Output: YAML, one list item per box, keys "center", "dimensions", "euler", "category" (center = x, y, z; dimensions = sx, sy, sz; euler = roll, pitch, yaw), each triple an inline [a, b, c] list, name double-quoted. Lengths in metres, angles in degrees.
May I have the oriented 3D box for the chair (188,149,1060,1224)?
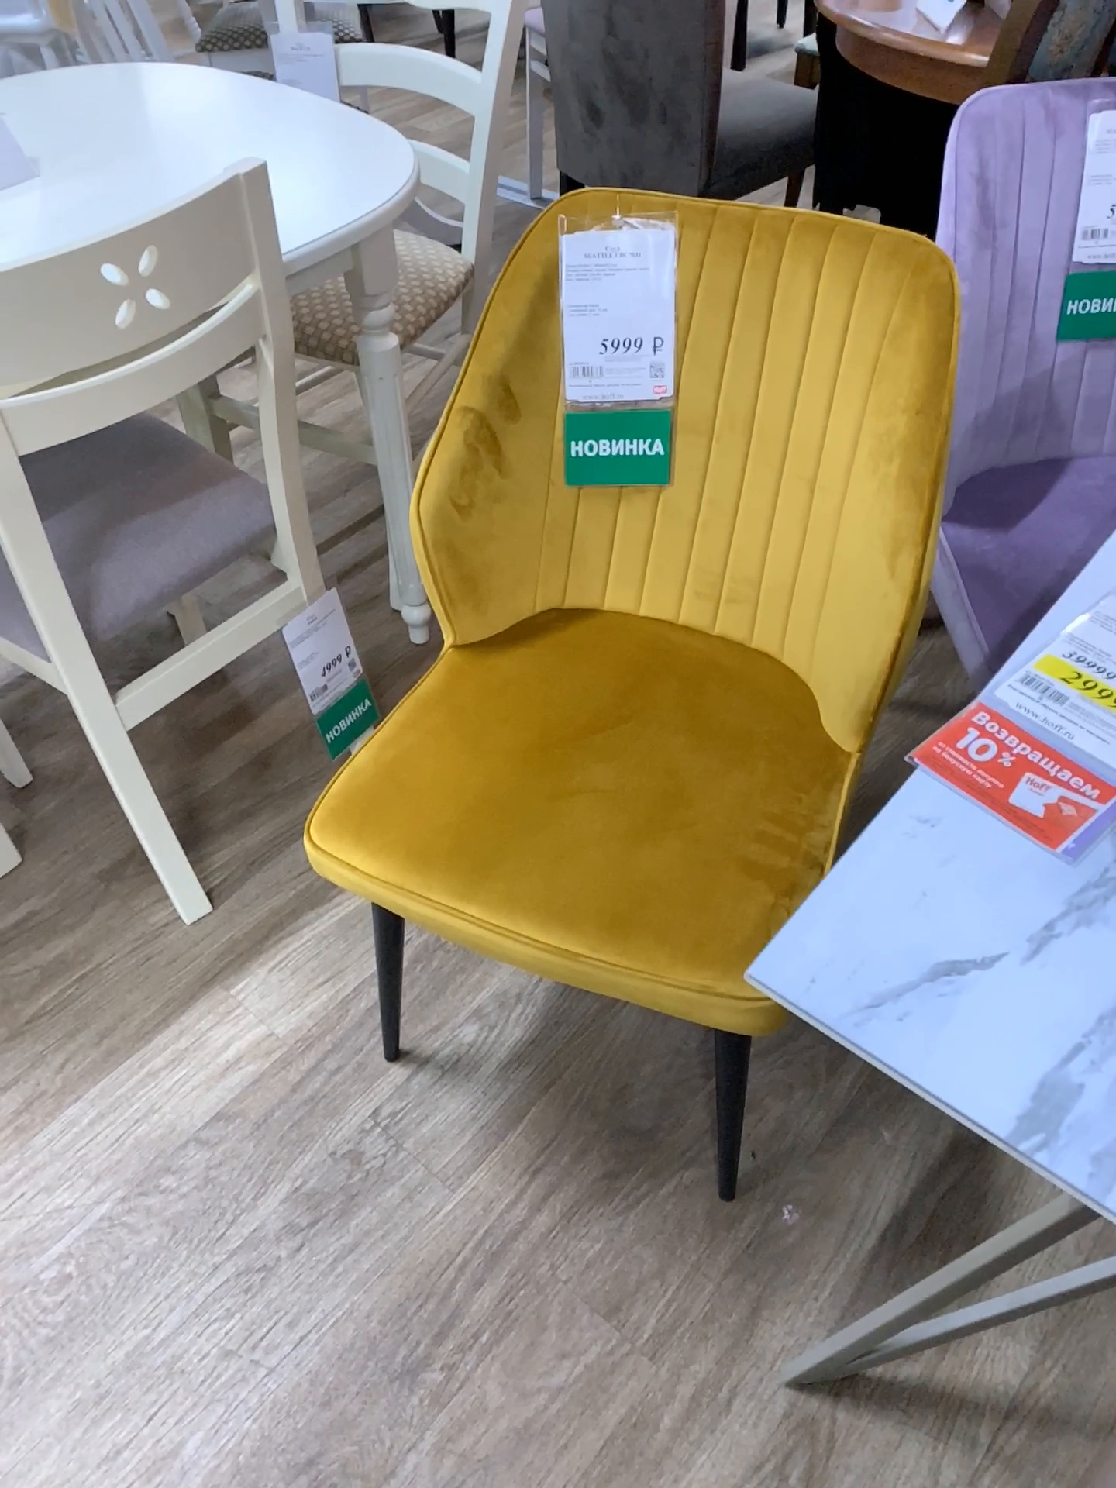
- center: [0.086, -0.017, 1.165]
  dimensions: [0.500, 0.886, 0.502]
  euler: [17, 48, 16]
  category: "chair"
